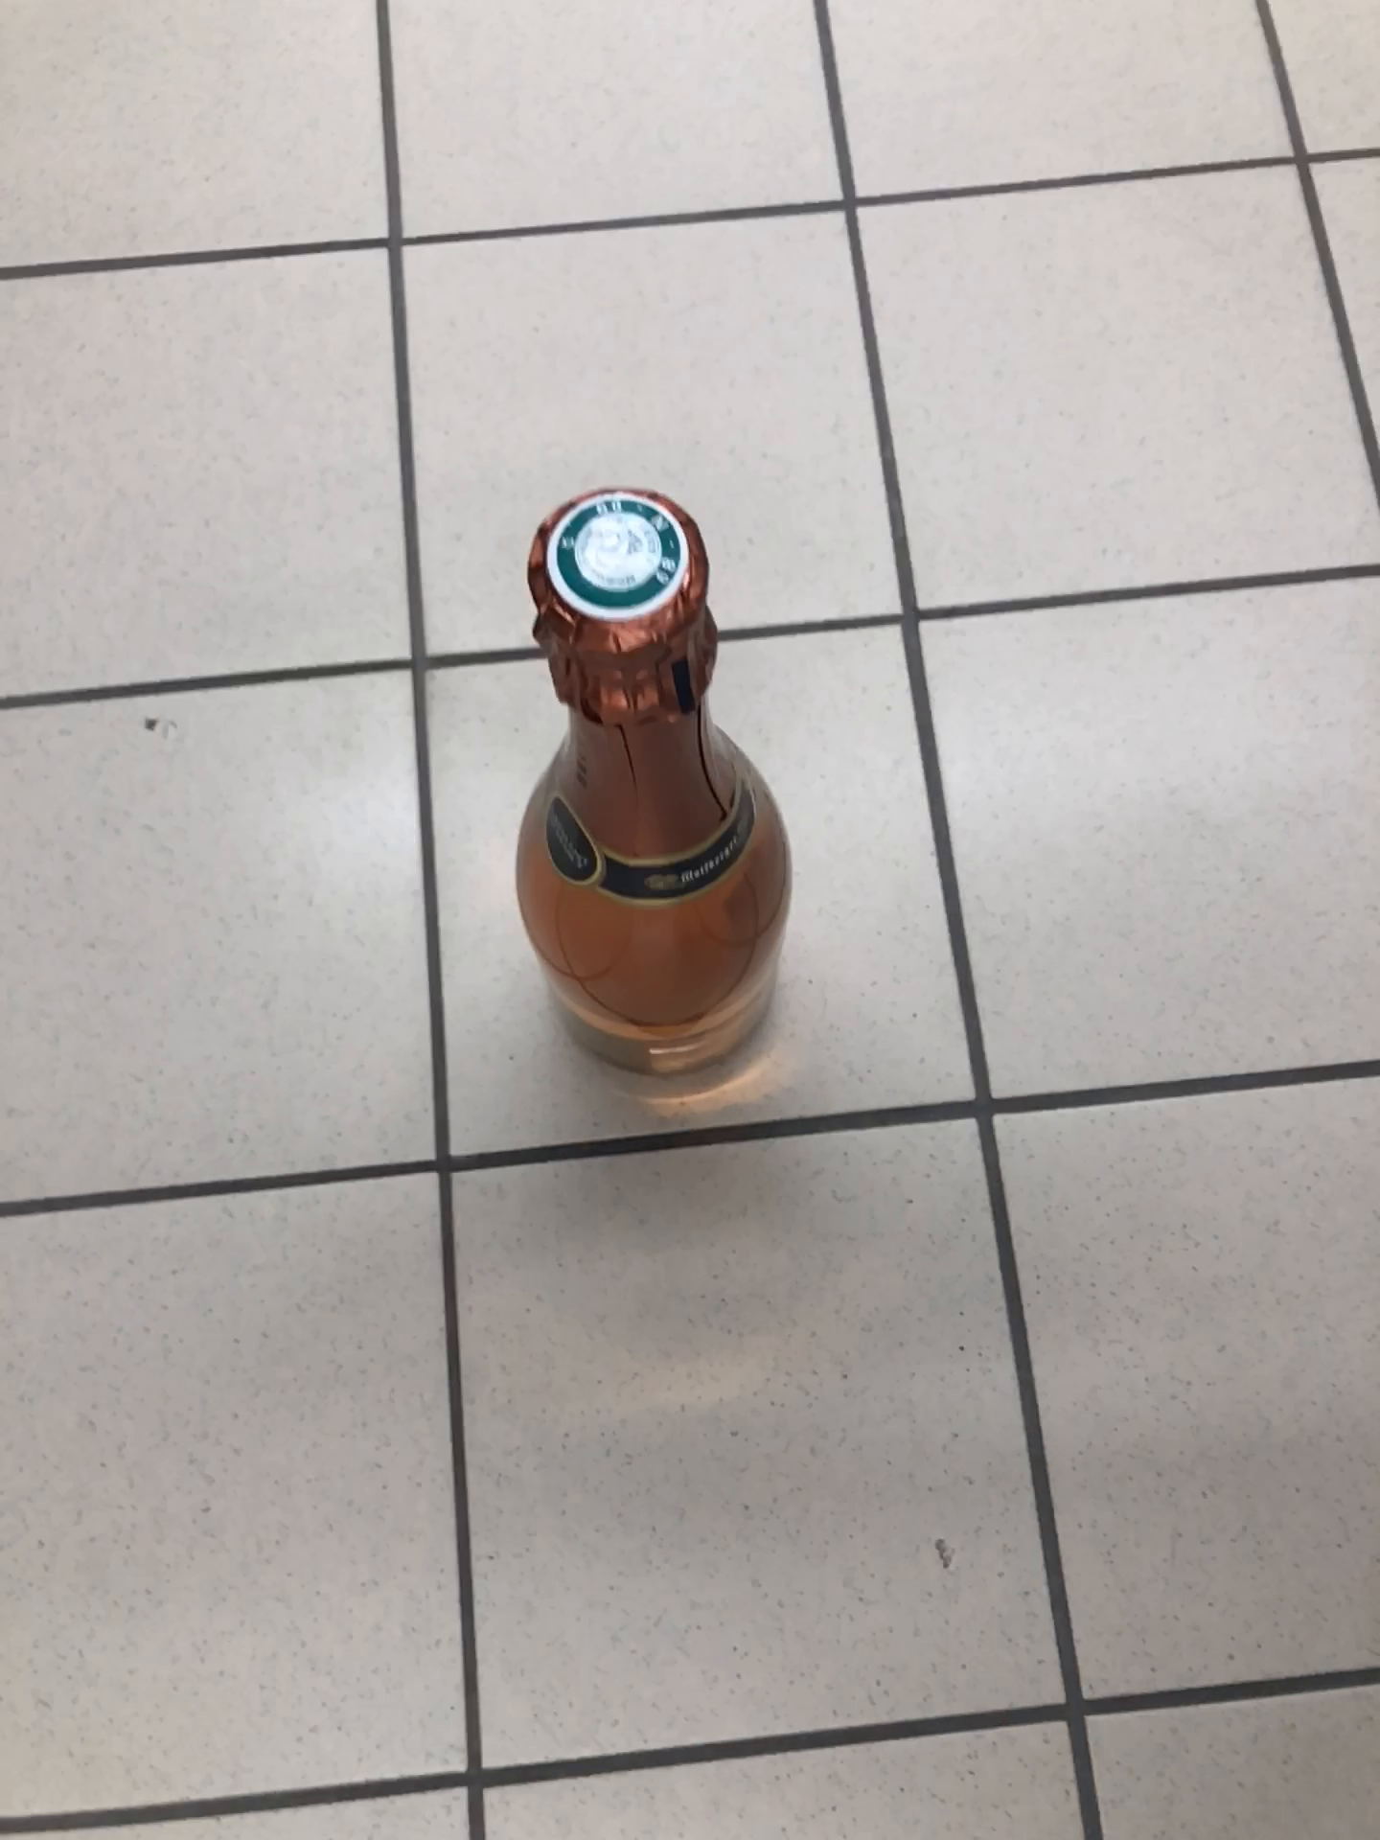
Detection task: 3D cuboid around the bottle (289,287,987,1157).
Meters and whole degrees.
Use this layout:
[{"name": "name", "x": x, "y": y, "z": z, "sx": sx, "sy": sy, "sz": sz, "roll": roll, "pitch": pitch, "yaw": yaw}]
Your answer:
[{"name": "bottle", "x": -0.009, "y": -0.018, "z": 0.426, "sx": 0.090, "sy": 0.309, "sz": 0.090, "roll": 0, "pitch": 74, "yaw": 0}]
